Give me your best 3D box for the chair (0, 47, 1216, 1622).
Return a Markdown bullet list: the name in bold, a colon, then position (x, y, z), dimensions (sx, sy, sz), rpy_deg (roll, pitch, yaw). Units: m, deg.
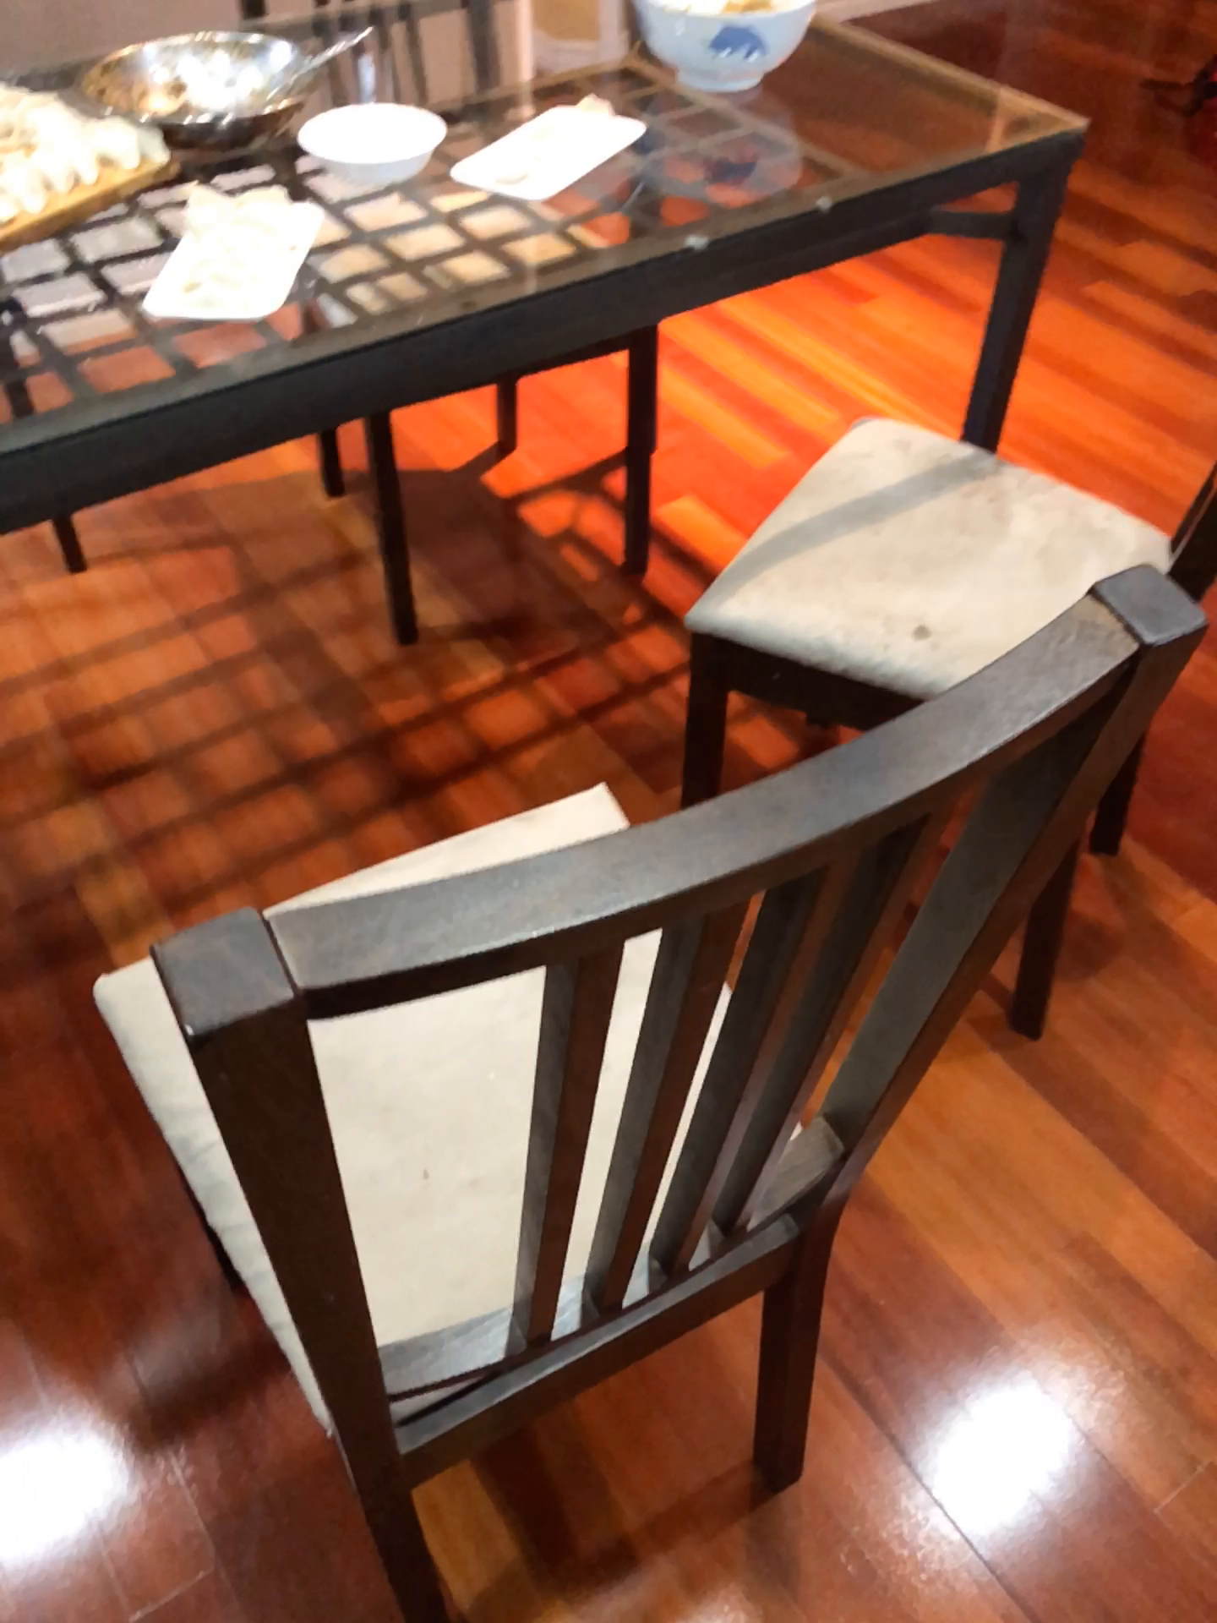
- **chair**: position (-0.063, 0.174, 0.904), dimensions (0.491, 1.053, 0.513), rpy_deg (-21, 50, -19)
